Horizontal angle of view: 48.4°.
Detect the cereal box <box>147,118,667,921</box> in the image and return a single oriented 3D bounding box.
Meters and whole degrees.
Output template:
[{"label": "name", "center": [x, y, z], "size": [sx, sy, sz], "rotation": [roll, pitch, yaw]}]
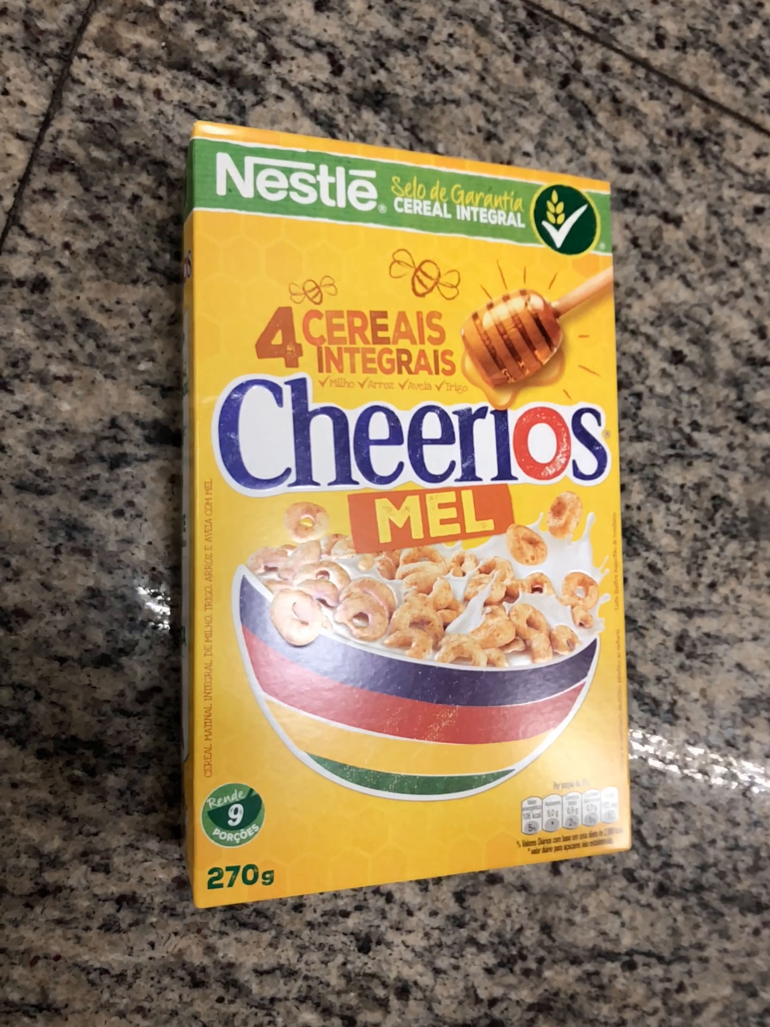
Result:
[{"label": "cereal box", "center": [0.005, -0.001, 0.312], "size": [0.170, 0.060, 0.240], "rotation": [0, 85, -19]}]
